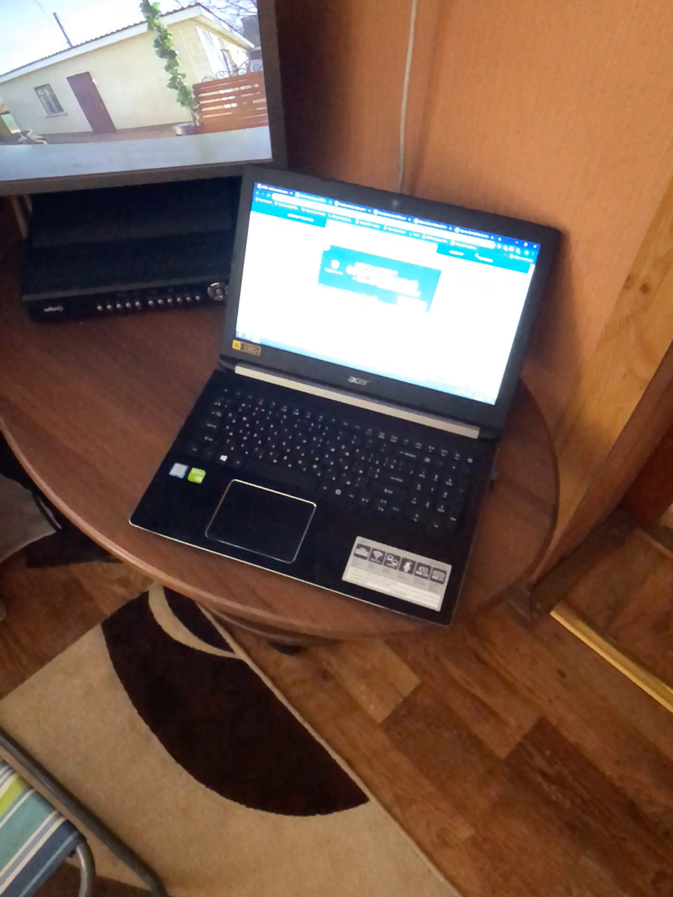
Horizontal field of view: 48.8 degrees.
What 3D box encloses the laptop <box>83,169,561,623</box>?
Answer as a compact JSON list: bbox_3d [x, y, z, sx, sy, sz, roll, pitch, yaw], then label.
[{"bbox_3d":[0.009,-0.075,0.823,0.372,0.186,0.392,16,58,10],"label":"laptop"}]
